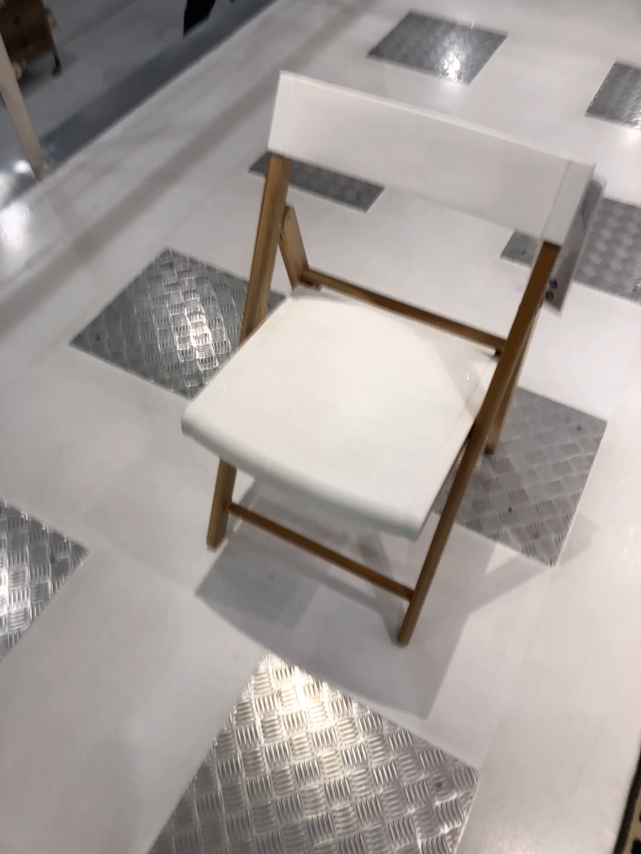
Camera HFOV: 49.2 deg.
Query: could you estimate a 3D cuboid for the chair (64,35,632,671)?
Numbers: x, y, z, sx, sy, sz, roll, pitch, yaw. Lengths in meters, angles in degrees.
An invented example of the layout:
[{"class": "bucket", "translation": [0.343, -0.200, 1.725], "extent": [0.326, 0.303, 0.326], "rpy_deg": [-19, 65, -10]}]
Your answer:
[{"class": "chair", "translation": [0.066, -0.085, 1.104], "extent": [0.470, 0.706, 0.553], "rpy_deg": [23, 57, 16]}]
